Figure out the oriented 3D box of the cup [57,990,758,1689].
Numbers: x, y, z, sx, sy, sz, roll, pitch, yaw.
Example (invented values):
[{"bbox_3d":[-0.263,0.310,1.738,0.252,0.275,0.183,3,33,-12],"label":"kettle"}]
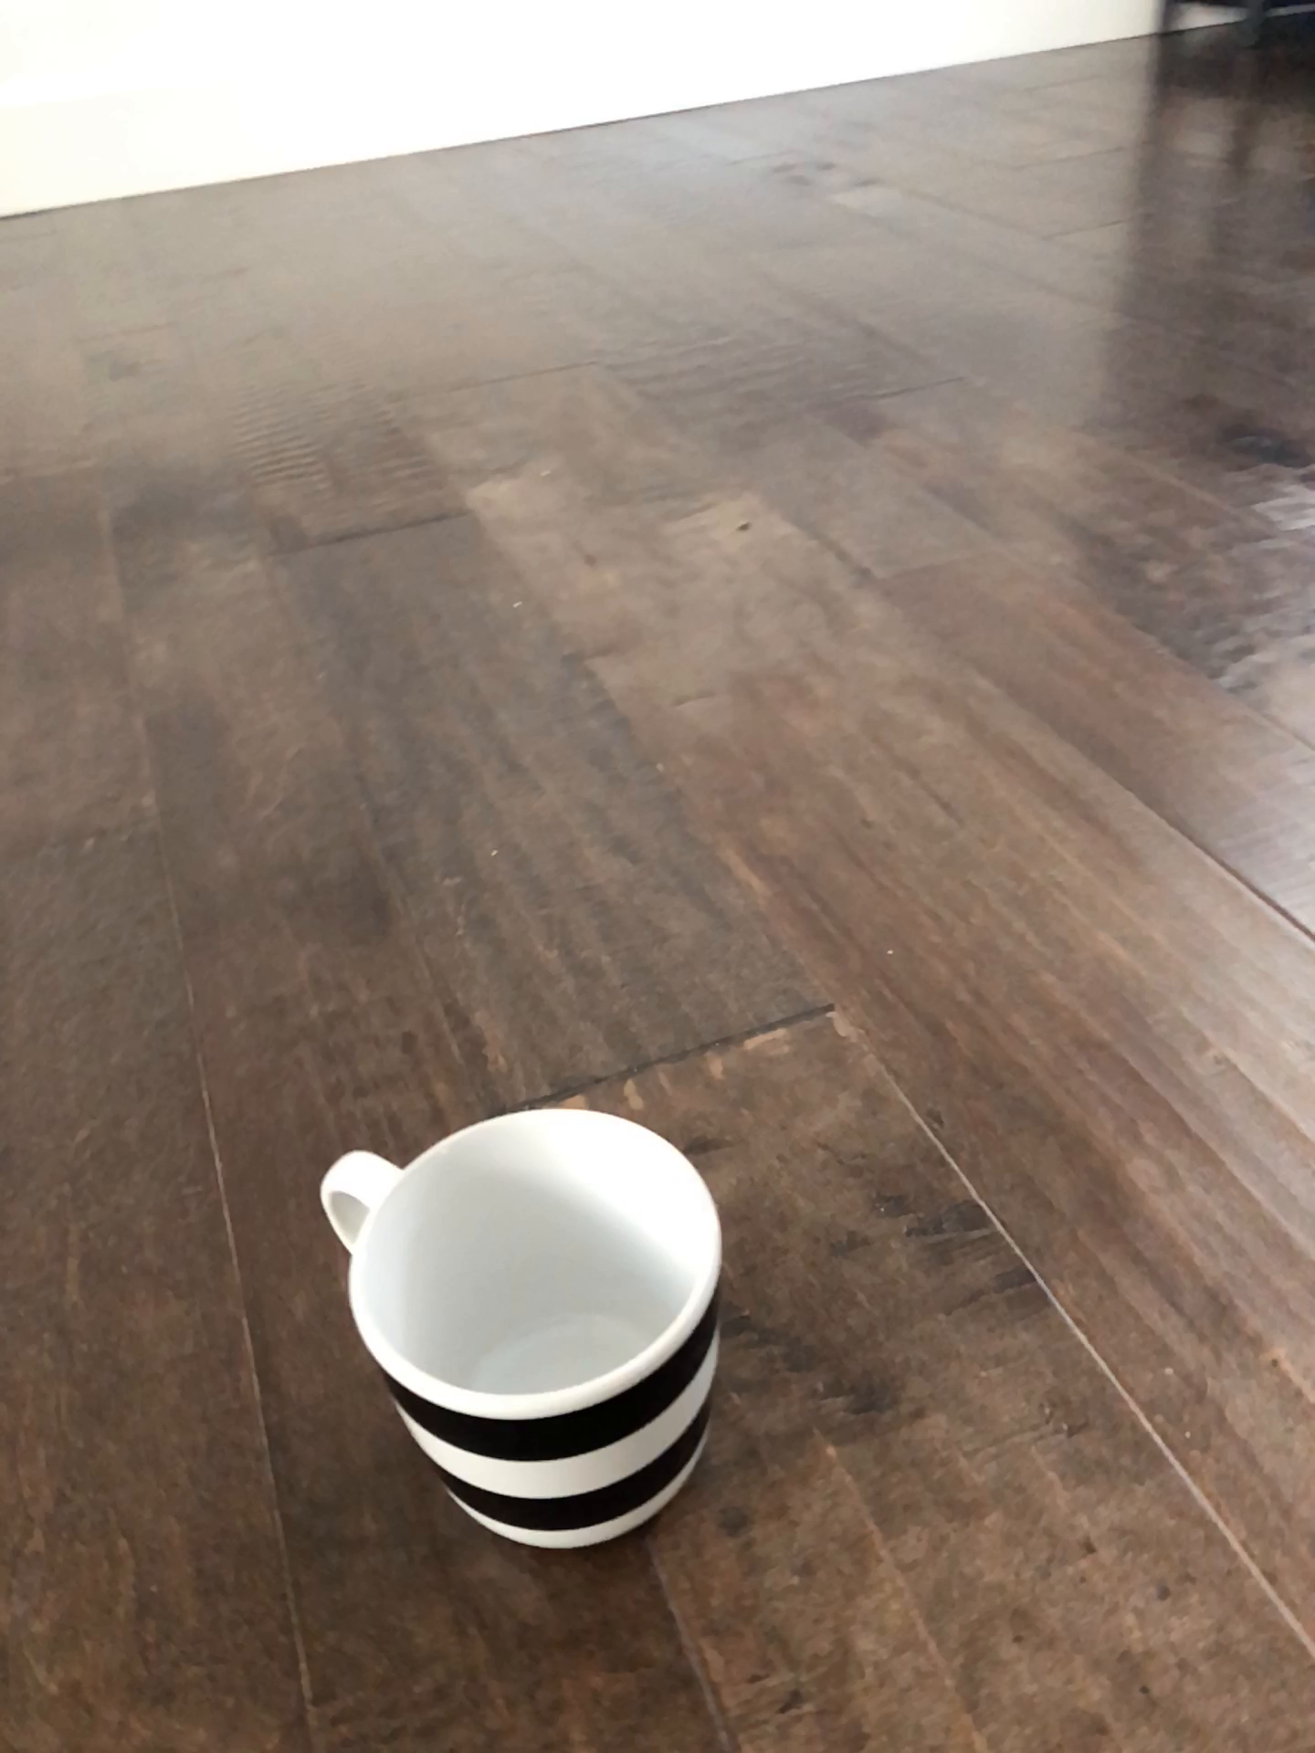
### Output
[{"bbox_3d":[-0.052,0.100,0.341,0.120,0.079,0.091,15,40,27],"label":"cup"}]
